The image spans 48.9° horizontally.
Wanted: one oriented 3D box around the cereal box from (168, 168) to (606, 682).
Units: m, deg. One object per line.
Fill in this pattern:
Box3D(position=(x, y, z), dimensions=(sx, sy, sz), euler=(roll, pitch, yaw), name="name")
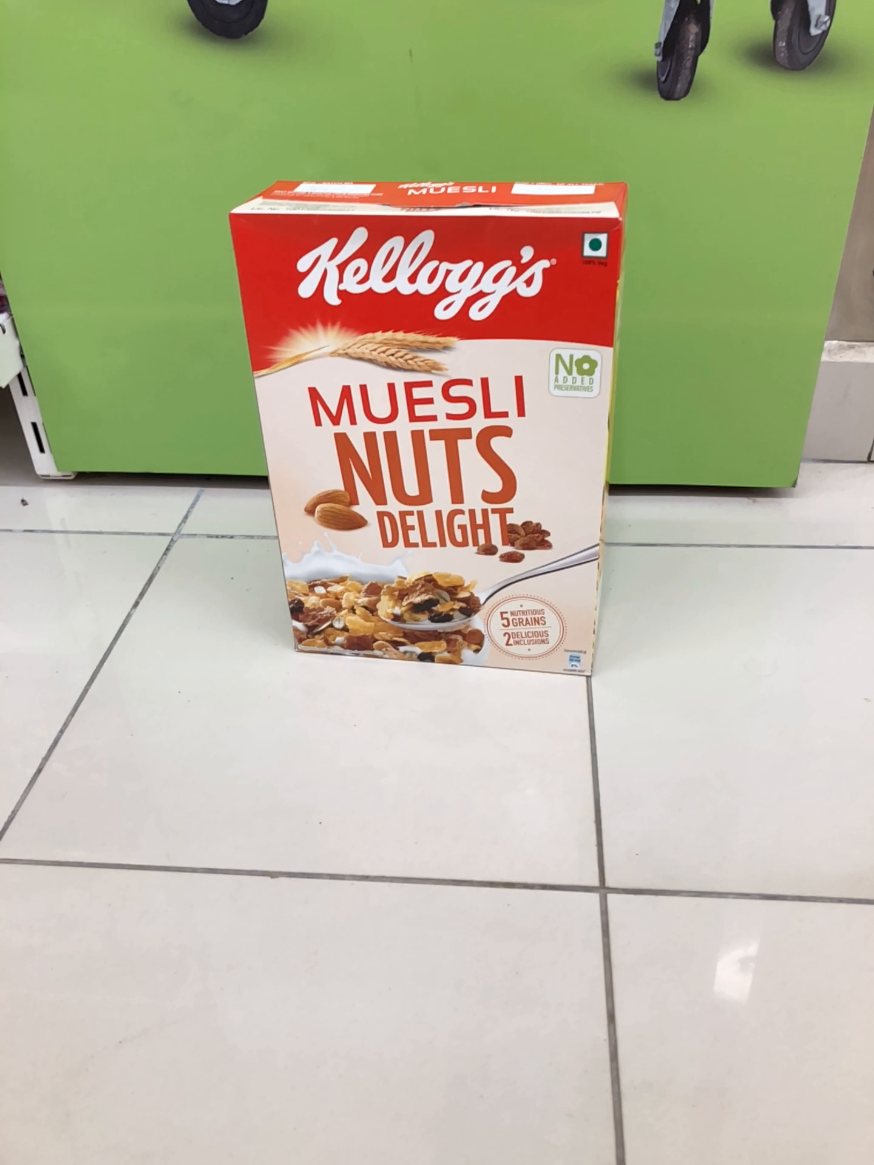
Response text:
Box3D(position=(-0.017, -0.081, 0.541), dimensions=(0.200, 0.268, 0.081), euler=(3, 34, 7), name="cereal box")
